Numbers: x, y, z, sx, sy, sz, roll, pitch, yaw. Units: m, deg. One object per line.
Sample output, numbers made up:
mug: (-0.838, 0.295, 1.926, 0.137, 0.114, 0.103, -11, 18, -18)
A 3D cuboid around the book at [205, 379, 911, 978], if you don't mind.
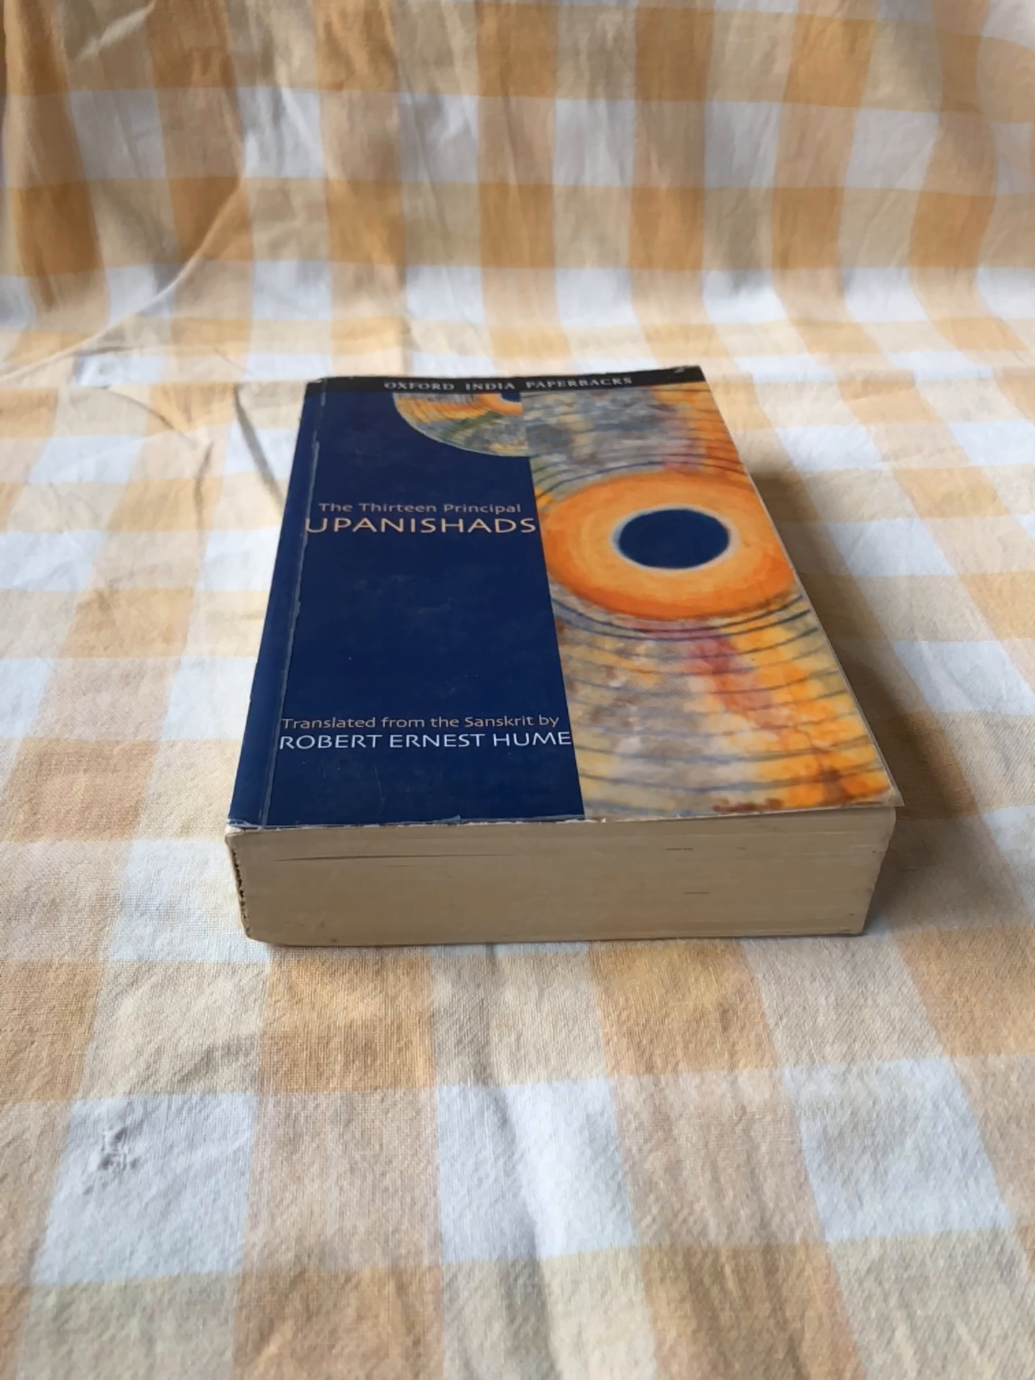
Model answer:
book: (0.002, -0.022, 0.321, 0.140, 0.040, 0.211, -1, 40, -4)
